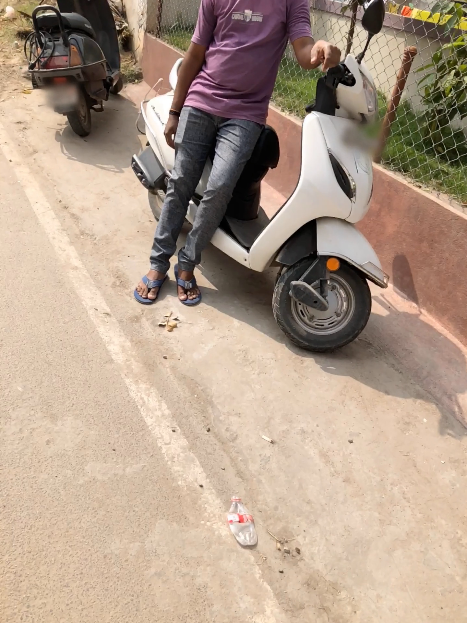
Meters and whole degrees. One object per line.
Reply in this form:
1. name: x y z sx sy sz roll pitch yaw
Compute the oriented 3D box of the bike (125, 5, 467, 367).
1. bike: 0.212 -0.686 2.505 0.621 1.112 1.553 -18 43 -40
